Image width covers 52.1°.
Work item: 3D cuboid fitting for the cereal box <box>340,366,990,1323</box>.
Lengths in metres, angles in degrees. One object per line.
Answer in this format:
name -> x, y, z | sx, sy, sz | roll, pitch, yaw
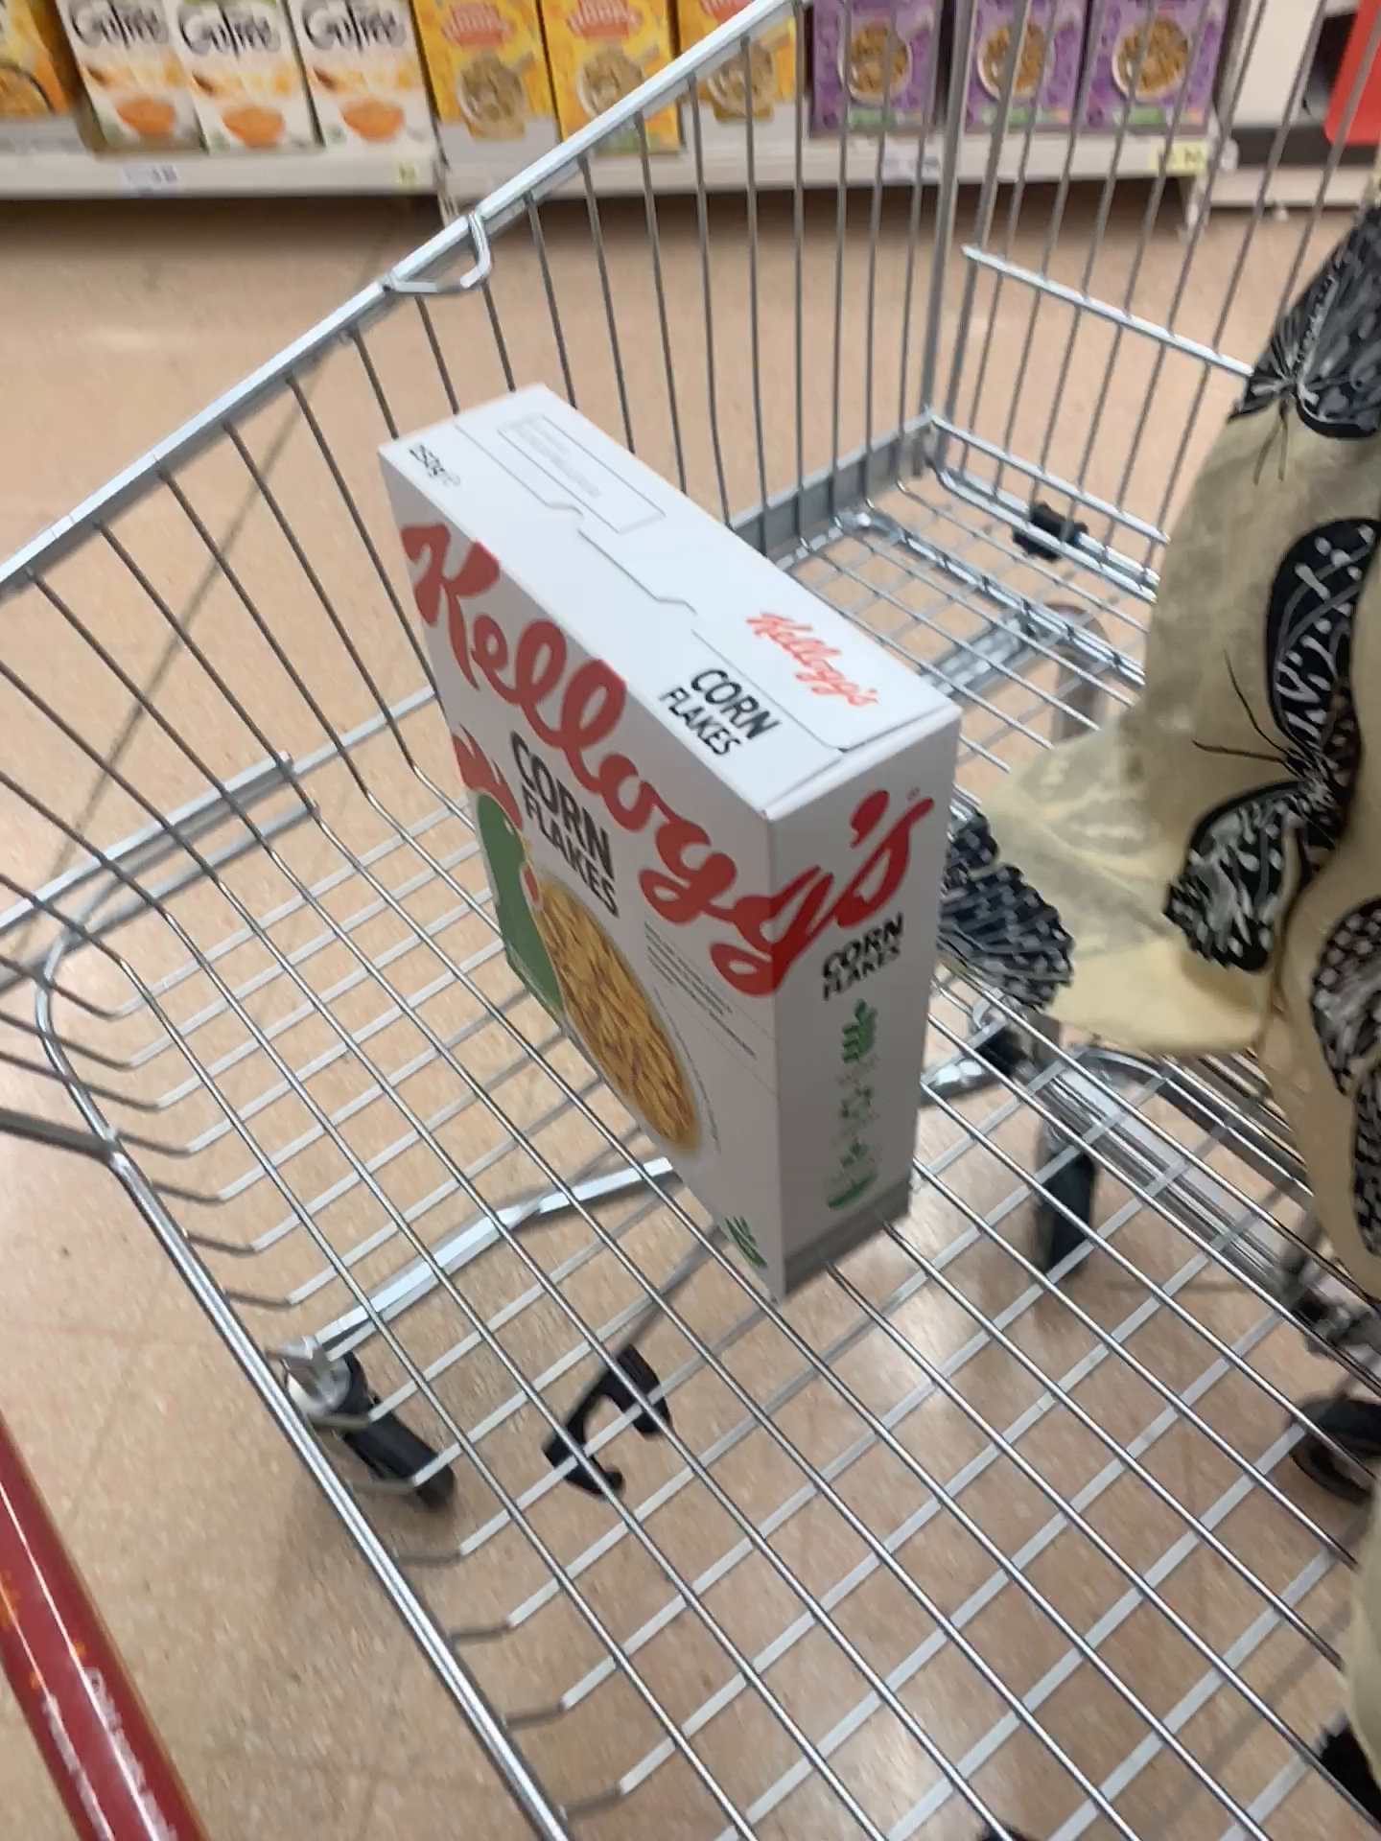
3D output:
cereal box -> -0.008, -0.015, 0.448 | 0.060, 0.238, 0.201 | -31, 55, -19
